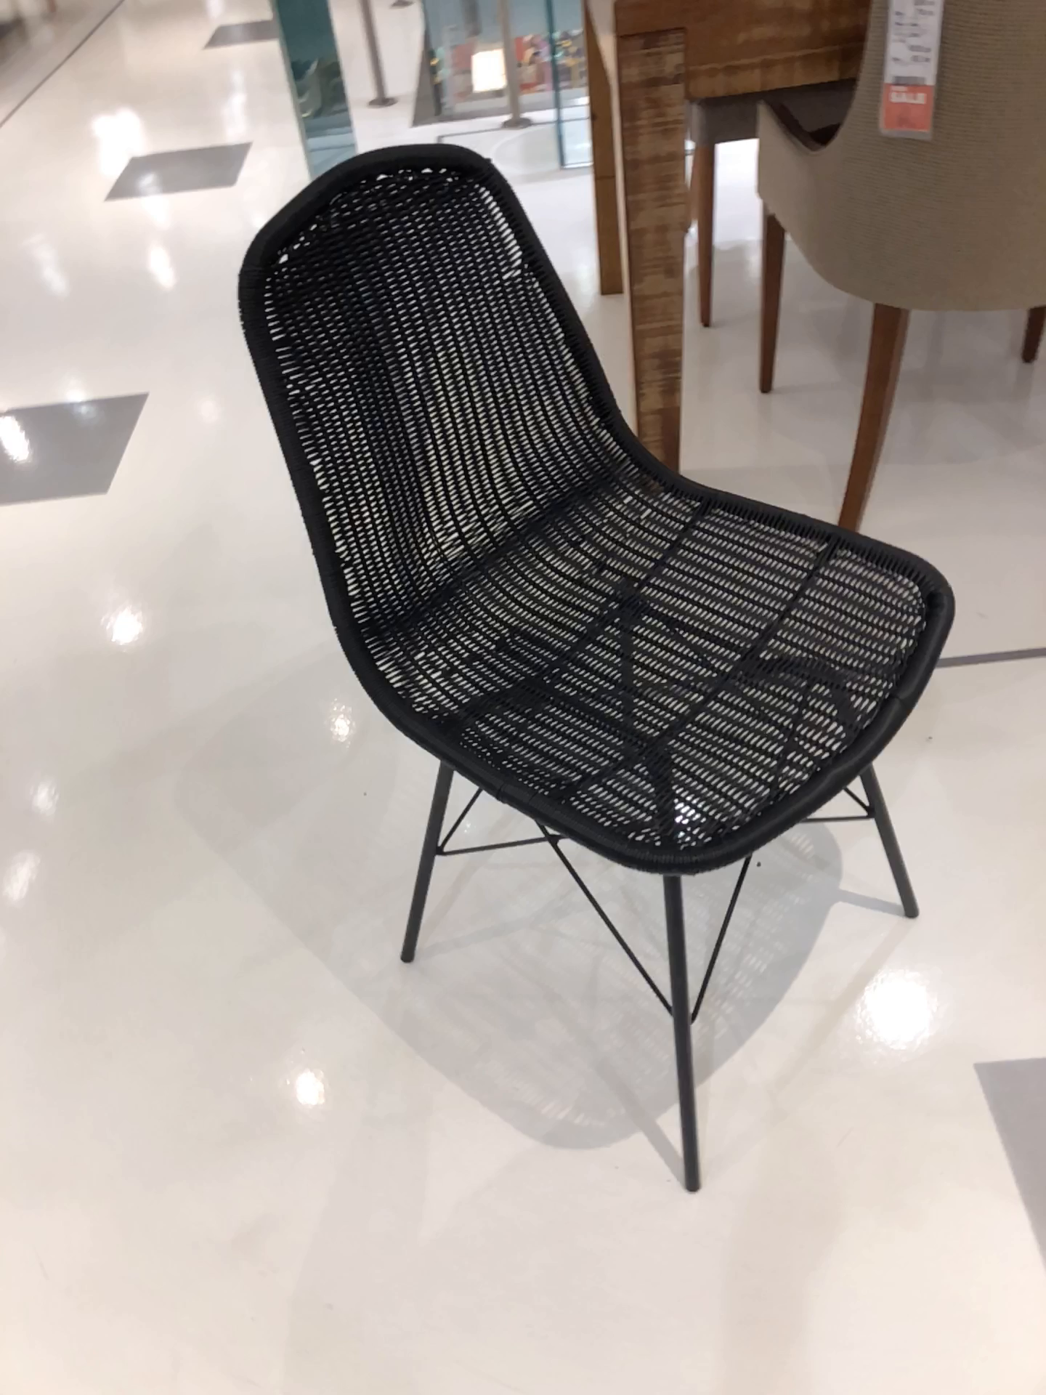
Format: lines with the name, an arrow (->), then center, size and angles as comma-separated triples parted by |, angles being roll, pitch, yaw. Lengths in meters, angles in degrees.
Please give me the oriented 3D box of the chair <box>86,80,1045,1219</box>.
chair -> 0.086, -0.048, 1.077 | 0.552, 0.794, 0.482 | 28, 53, 33
